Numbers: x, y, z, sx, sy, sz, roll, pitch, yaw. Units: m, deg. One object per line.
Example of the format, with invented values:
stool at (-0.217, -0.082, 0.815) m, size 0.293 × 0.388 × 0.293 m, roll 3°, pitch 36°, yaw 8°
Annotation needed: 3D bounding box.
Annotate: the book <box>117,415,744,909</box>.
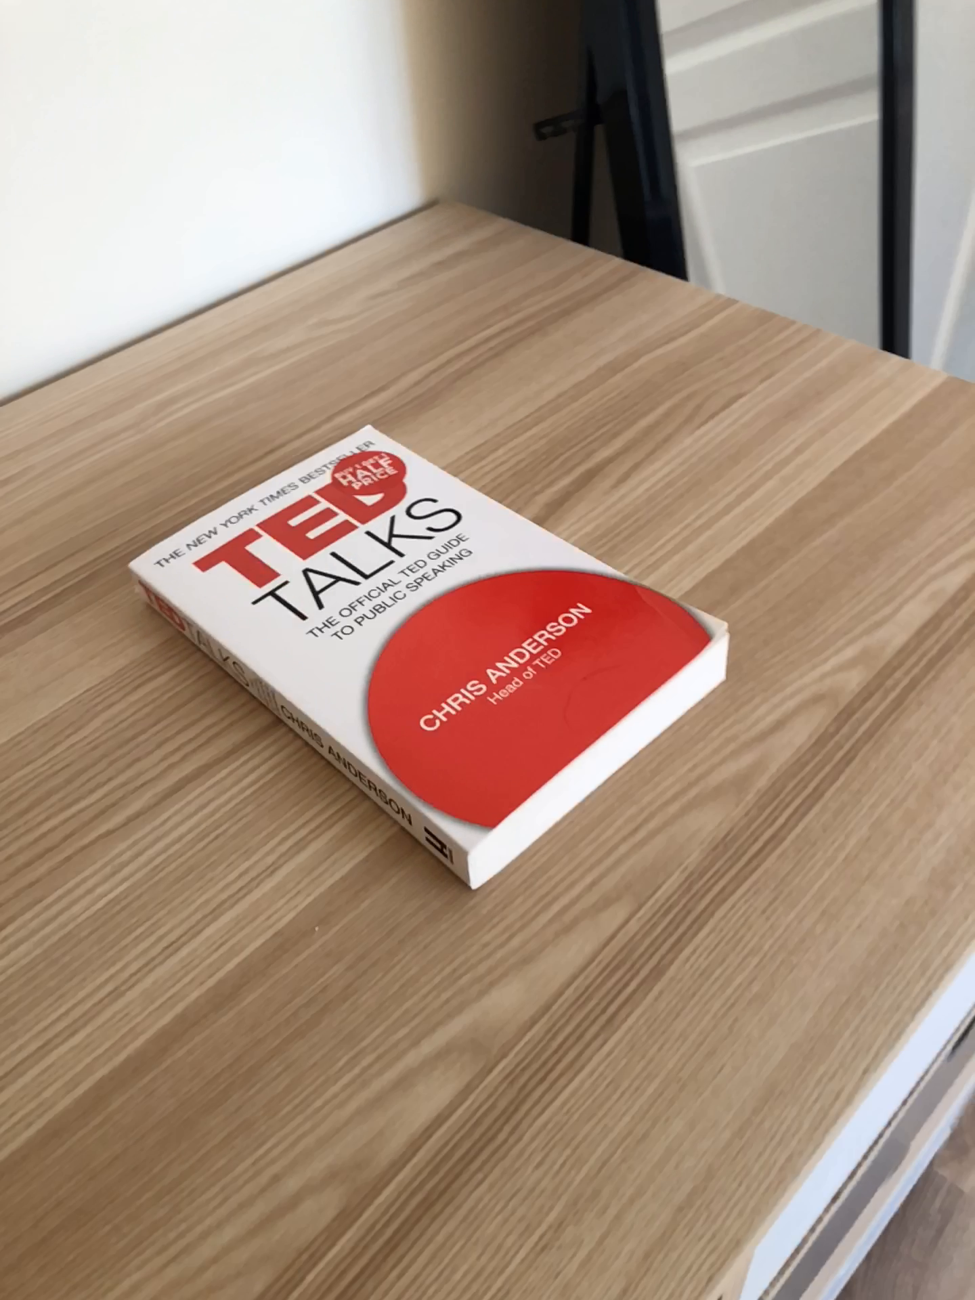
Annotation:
book at (-0.030, -0.014, 0.436) m, size 0.138 × 0.030 × 0.220 m, roll -36°, pitch 52°, yaw -27°
